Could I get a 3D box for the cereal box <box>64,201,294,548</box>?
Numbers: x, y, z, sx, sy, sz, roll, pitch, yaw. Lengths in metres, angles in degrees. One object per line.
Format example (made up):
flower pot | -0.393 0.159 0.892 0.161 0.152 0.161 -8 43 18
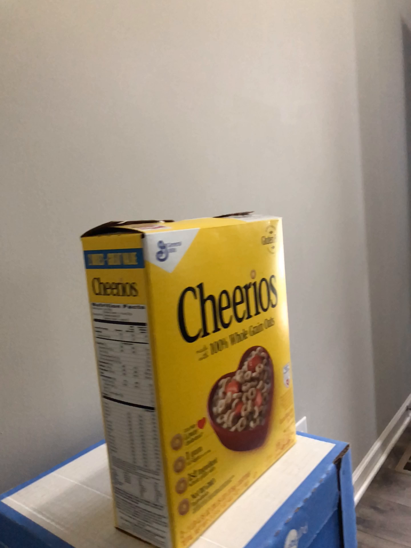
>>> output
cereal box | -0.008 0.083 0.505 0.090 0.310 0.240 -1 8 38
